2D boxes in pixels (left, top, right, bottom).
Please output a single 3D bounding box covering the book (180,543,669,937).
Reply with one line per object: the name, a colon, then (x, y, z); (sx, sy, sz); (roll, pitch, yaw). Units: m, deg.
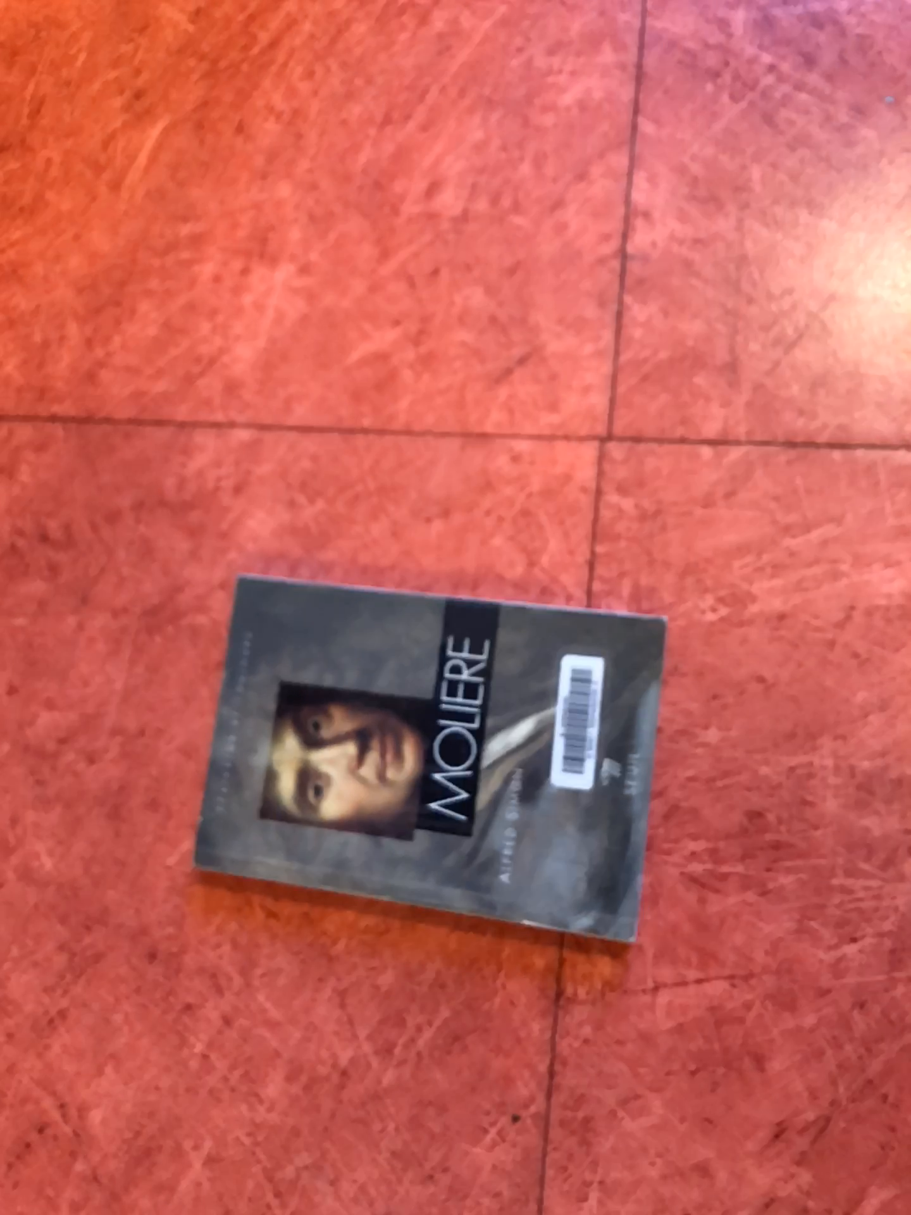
book: (-0.013, 0.048, 0.409); (0.183, 0.015, 0.134); (5, 82, 12)
